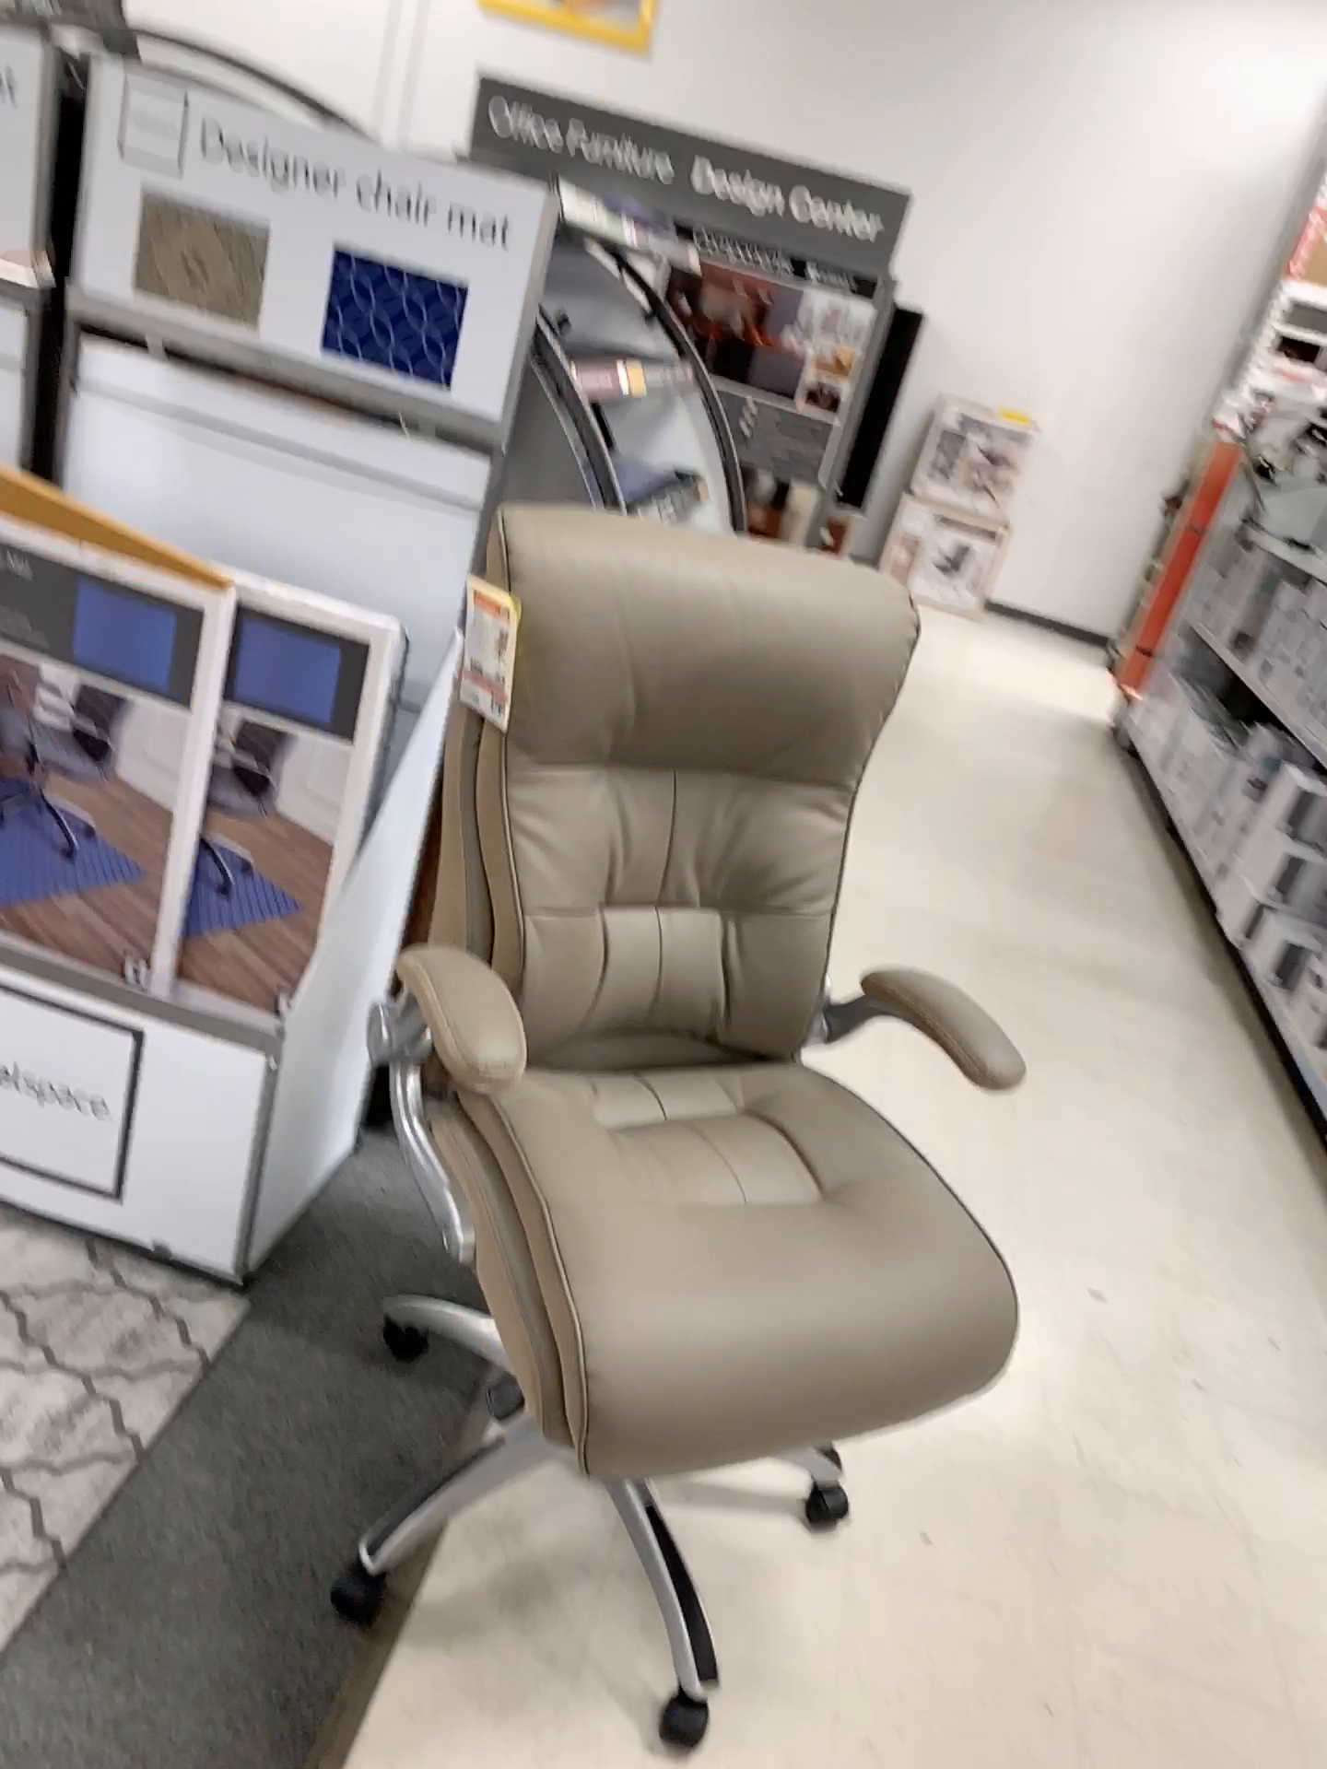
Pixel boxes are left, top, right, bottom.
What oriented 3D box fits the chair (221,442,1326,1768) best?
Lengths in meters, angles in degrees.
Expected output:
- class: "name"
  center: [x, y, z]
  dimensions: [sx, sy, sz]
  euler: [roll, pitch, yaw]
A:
- class: "chair"
  center: [0.023, 0.245, 1.474]
  dimensions: [0.711, 1.145, 0.723]
  euler: [3, 26, -30]
